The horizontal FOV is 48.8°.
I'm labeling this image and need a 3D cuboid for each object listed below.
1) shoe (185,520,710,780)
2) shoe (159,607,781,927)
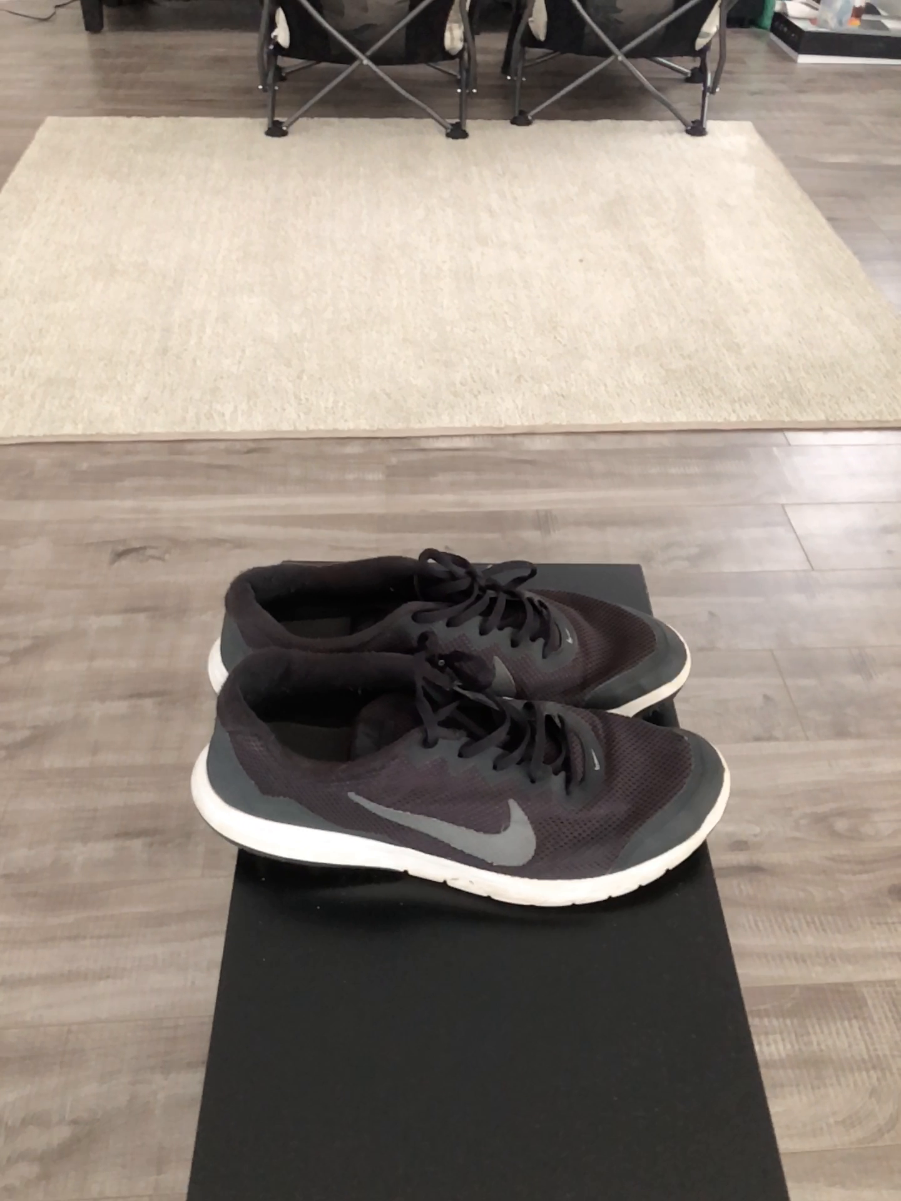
[{"bbox_3d":[-0.005,0.029,0.605,0.280,0.110,0.110,0,44,-5],"label":"shoe"},{"bbox_3d":[0.007,0.087,0.519,0.280,0.100,0.110,4,44,-3],"label":"shoe"}]
